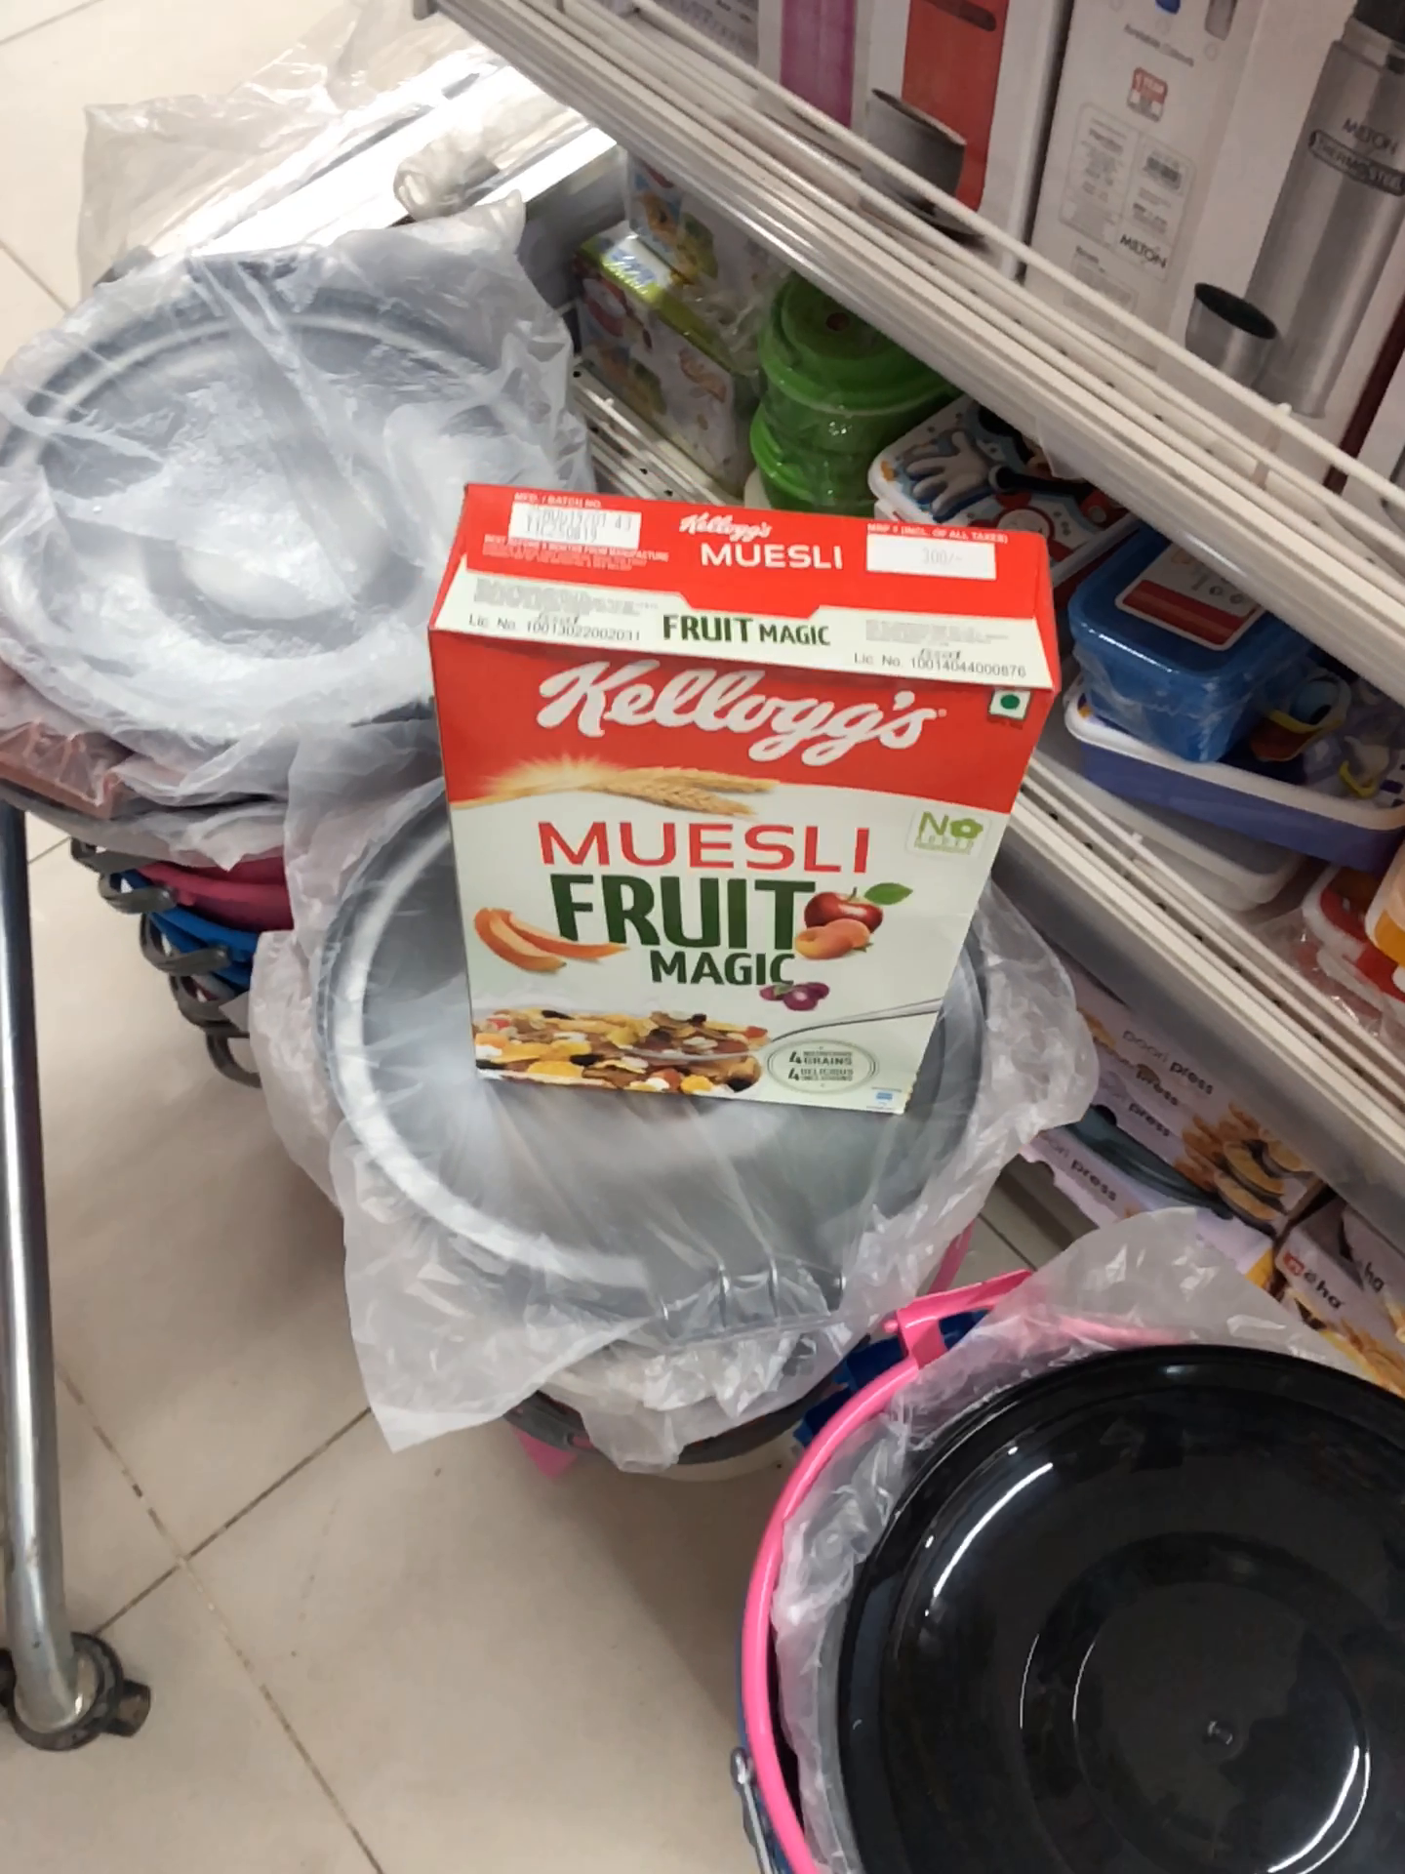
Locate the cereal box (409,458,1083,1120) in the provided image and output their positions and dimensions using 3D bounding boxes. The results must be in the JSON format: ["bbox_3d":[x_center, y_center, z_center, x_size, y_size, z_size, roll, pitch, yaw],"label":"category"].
[{"bbox_3d":[0.008,-0.036,0.557,0.190,0.249,0.070,6,54,0],"label":"cereal box"}]
